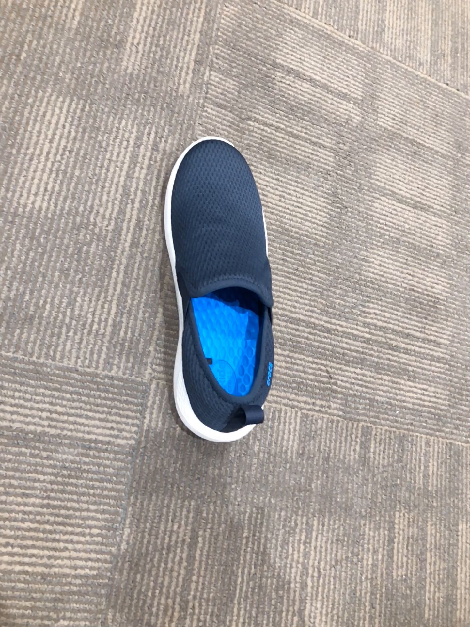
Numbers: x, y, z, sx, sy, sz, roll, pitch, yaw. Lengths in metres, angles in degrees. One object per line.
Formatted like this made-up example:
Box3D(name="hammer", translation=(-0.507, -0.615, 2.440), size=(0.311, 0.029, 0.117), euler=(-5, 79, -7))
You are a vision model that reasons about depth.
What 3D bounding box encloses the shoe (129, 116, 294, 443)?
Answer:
Box3D(name="shoe", translation=(-0.022, -0.020, 0.485), size=(0.110, 0.119, 0.270), euler=(7, 75, -22))
